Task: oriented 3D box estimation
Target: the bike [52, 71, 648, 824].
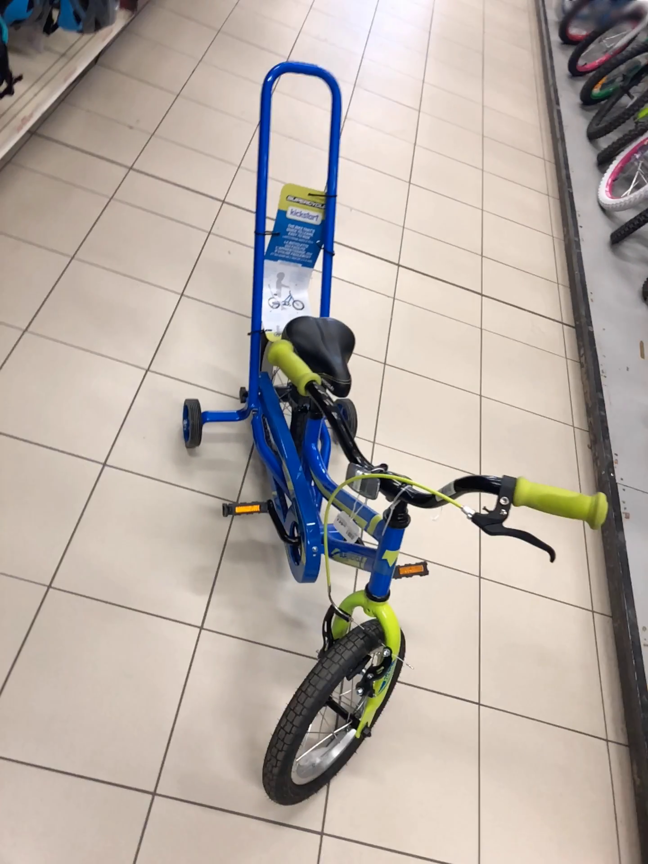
[{"bbox_3d":[-0.077,0.019,1.207,0.539,0.763,0.956,7,49,-17],"label":"bike"}]
